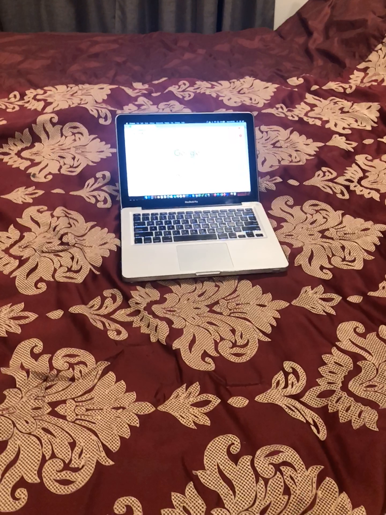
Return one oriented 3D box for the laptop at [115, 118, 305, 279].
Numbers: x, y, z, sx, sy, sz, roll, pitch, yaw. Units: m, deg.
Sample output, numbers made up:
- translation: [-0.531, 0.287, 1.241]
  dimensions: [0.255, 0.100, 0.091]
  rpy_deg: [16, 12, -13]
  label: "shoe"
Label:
- translation: [0.006, -0.133, 0.820]
  dimensions: [0.292, 0.133, 0.344]
  rpy_deg: [-3, 42, -7]
  label: "laptop"
